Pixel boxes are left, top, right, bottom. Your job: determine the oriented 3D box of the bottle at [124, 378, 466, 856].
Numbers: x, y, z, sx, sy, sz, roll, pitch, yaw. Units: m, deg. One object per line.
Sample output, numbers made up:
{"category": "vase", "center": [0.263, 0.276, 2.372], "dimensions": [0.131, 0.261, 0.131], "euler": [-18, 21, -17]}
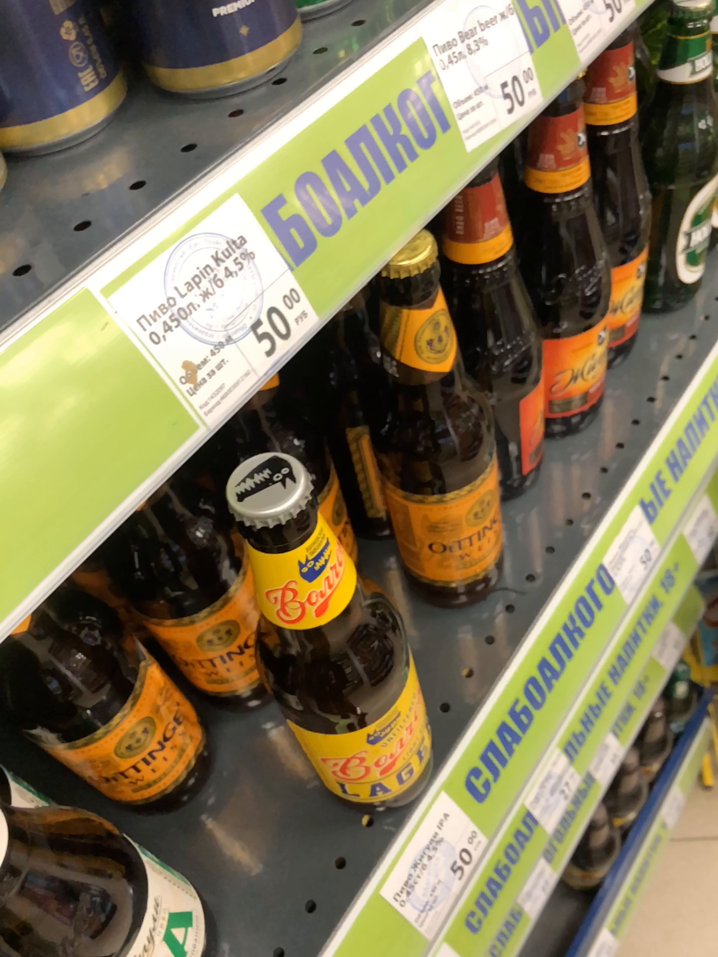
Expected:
{"category": "bottle", "center": [-0.009, 0.078, 0.341], "dimensions": [0.070, 0.239, 0.070], "euler": [-5, 51, 7]}
